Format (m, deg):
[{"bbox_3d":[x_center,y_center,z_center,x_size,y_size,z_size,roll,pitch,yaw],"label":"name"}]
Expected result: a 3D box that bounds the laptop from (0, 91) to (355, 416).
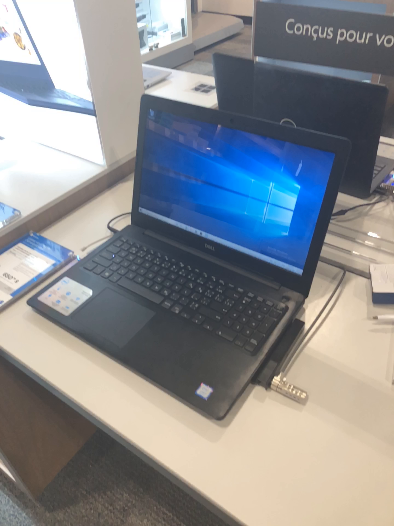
[{"bbox_3d":[-0.027,-0.056,0.646,0.365,0.224,0.336,23,48,28],"label":"laptop"}]
